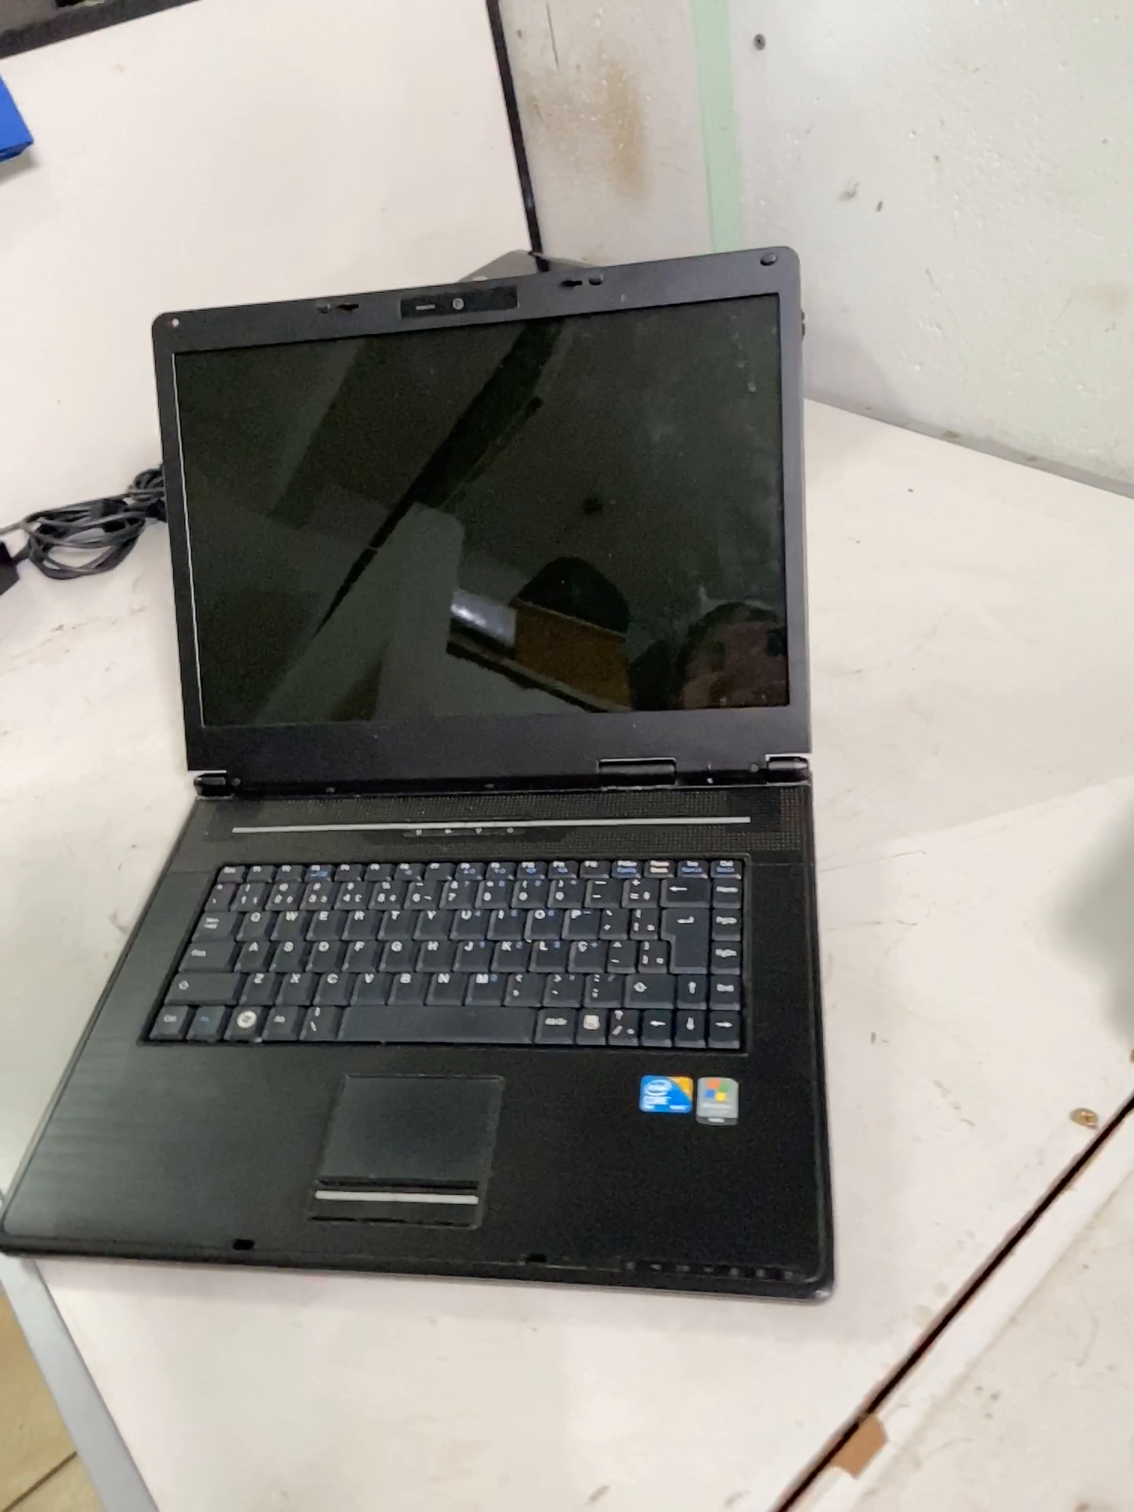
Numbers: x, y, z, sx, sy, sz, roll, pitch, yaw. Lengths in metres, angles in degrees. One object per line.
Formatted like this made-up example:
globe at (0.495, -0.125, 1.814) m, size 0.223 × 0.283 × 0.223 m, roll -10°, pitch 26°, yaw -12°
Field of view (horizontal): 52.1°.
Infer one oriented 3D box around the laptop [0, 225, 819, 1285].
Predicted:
laptop at (-0.069, -0.030, 0.553) m, size 0.351 × 0.224 × 0.432 m, roll -2°, pitch 44°, yaw 12°
